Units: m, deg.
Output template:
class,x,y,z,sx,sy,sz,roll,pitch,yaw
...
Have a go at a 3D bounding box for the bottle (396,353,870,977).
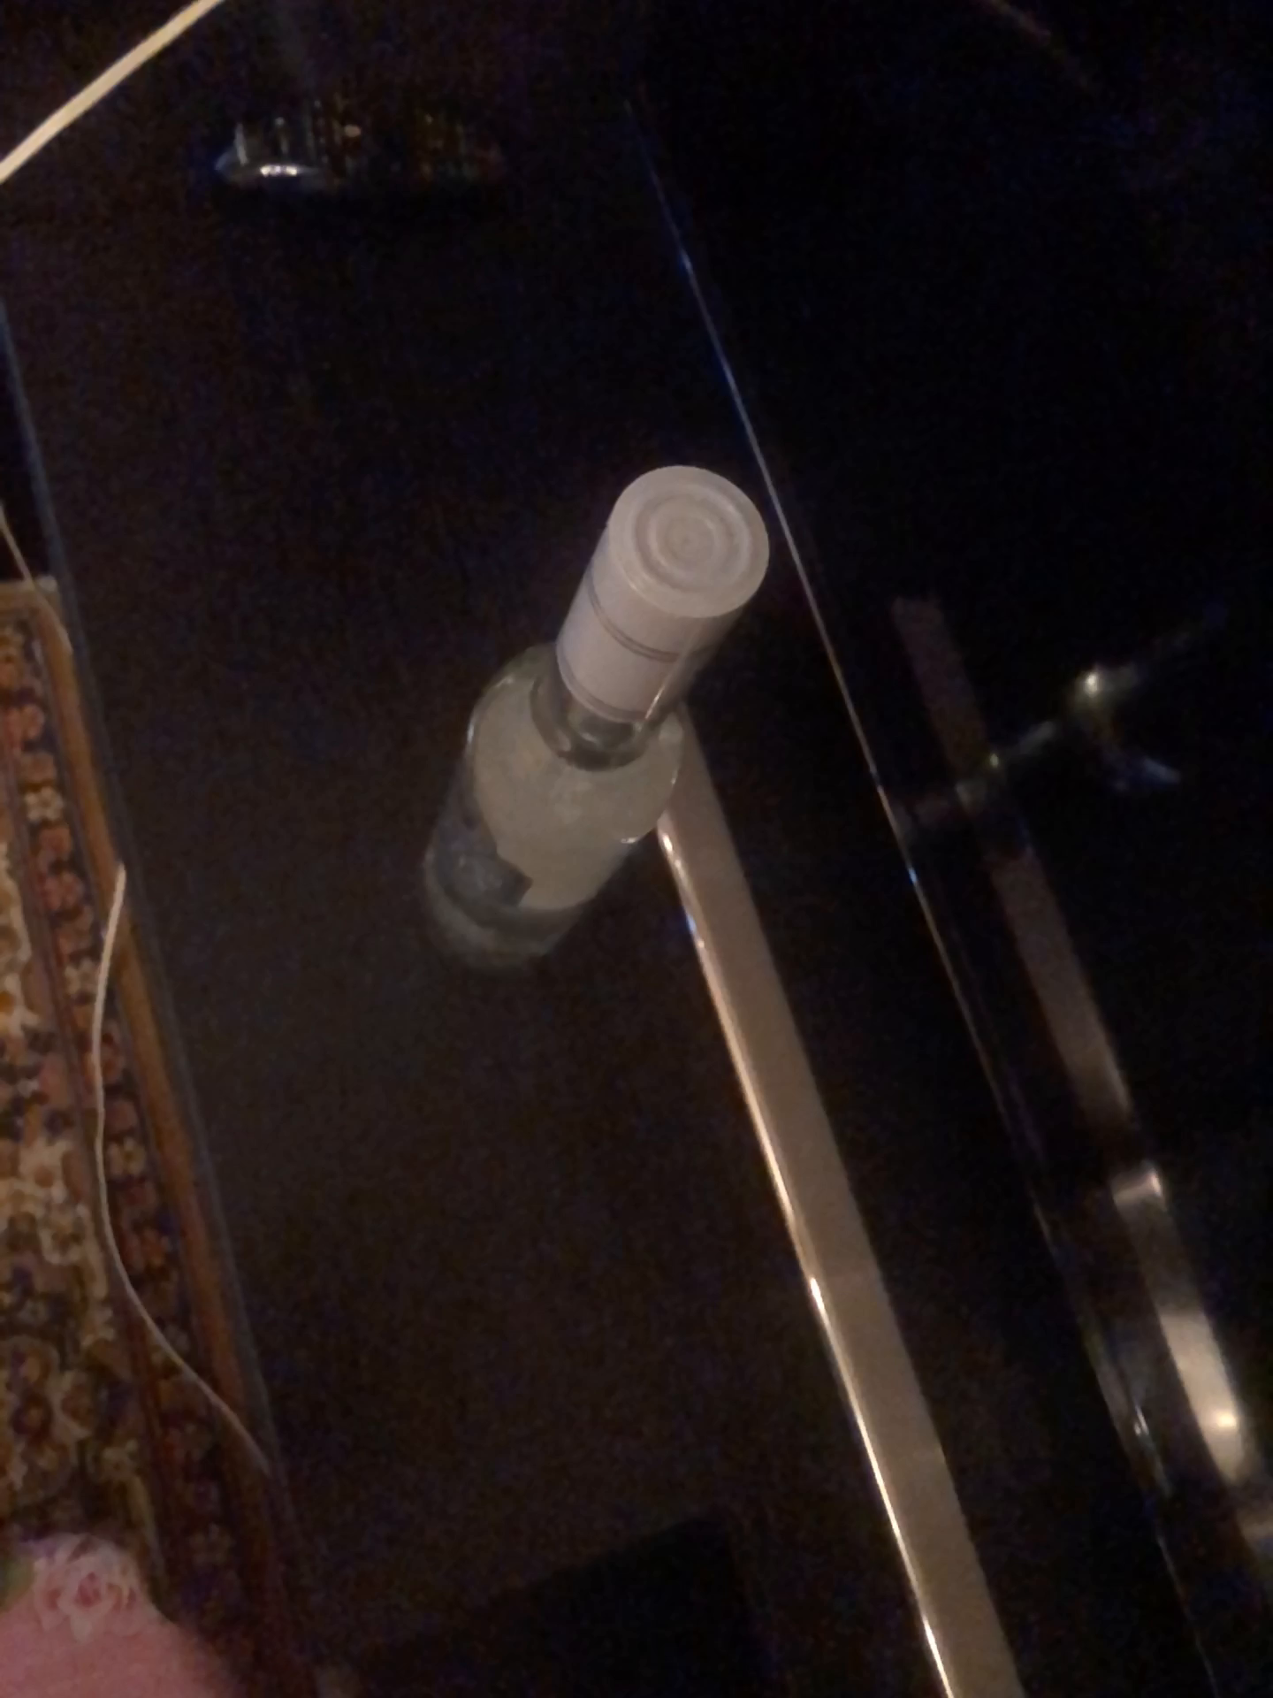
class,x,y,z,sx,sy,sz,roll,pitch,yaw
bottle,-0.023,-0.029,0.425,0.067,0.291,0.064,4,72,-12
